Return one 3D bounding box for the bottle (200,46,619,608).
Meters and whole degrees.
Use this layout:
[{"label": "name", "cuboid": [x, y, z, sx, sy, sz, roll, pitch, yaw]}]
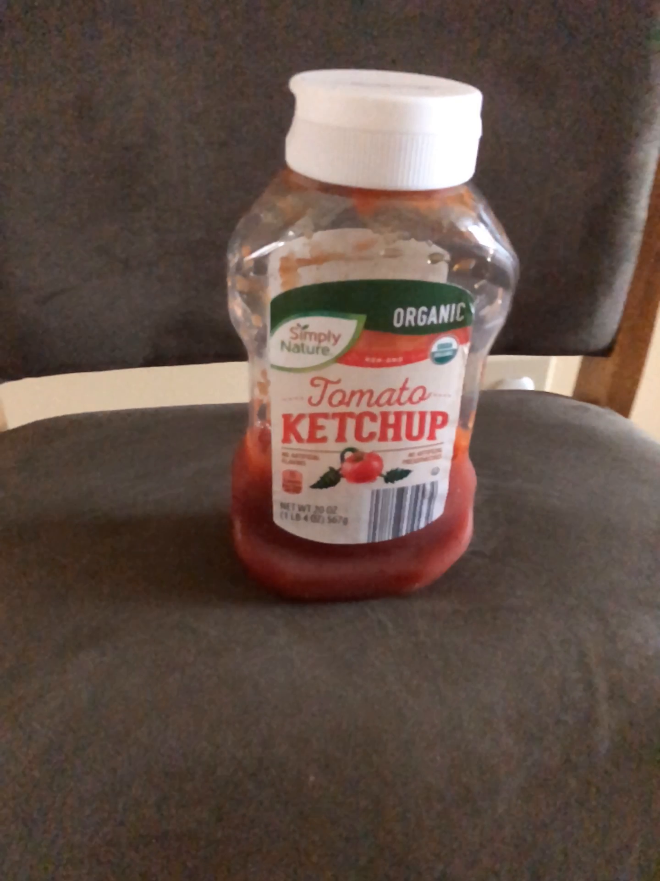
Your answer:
[{"label": "bottle", "cuboid": [0.014, -0.030, 0.242, 0.100, 0.170, 0.060, -2, 33, -6]}]
